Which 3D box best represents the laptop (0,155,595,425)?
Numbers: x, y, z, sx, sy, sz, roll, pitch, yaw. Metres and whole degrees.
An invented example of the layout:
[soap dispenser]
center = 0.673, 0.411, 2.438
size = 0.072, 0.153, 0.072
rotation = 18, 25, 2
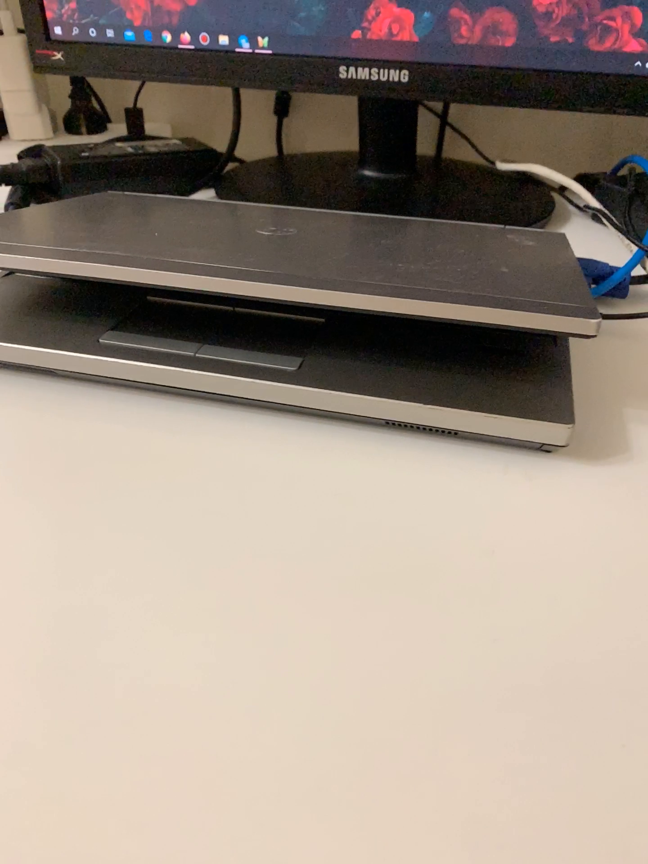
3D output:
[laptop]
center = -0.024, -0.091, 0.344
size = 0.292, 0.029, 0.184
rotation = 9, 39, 12
